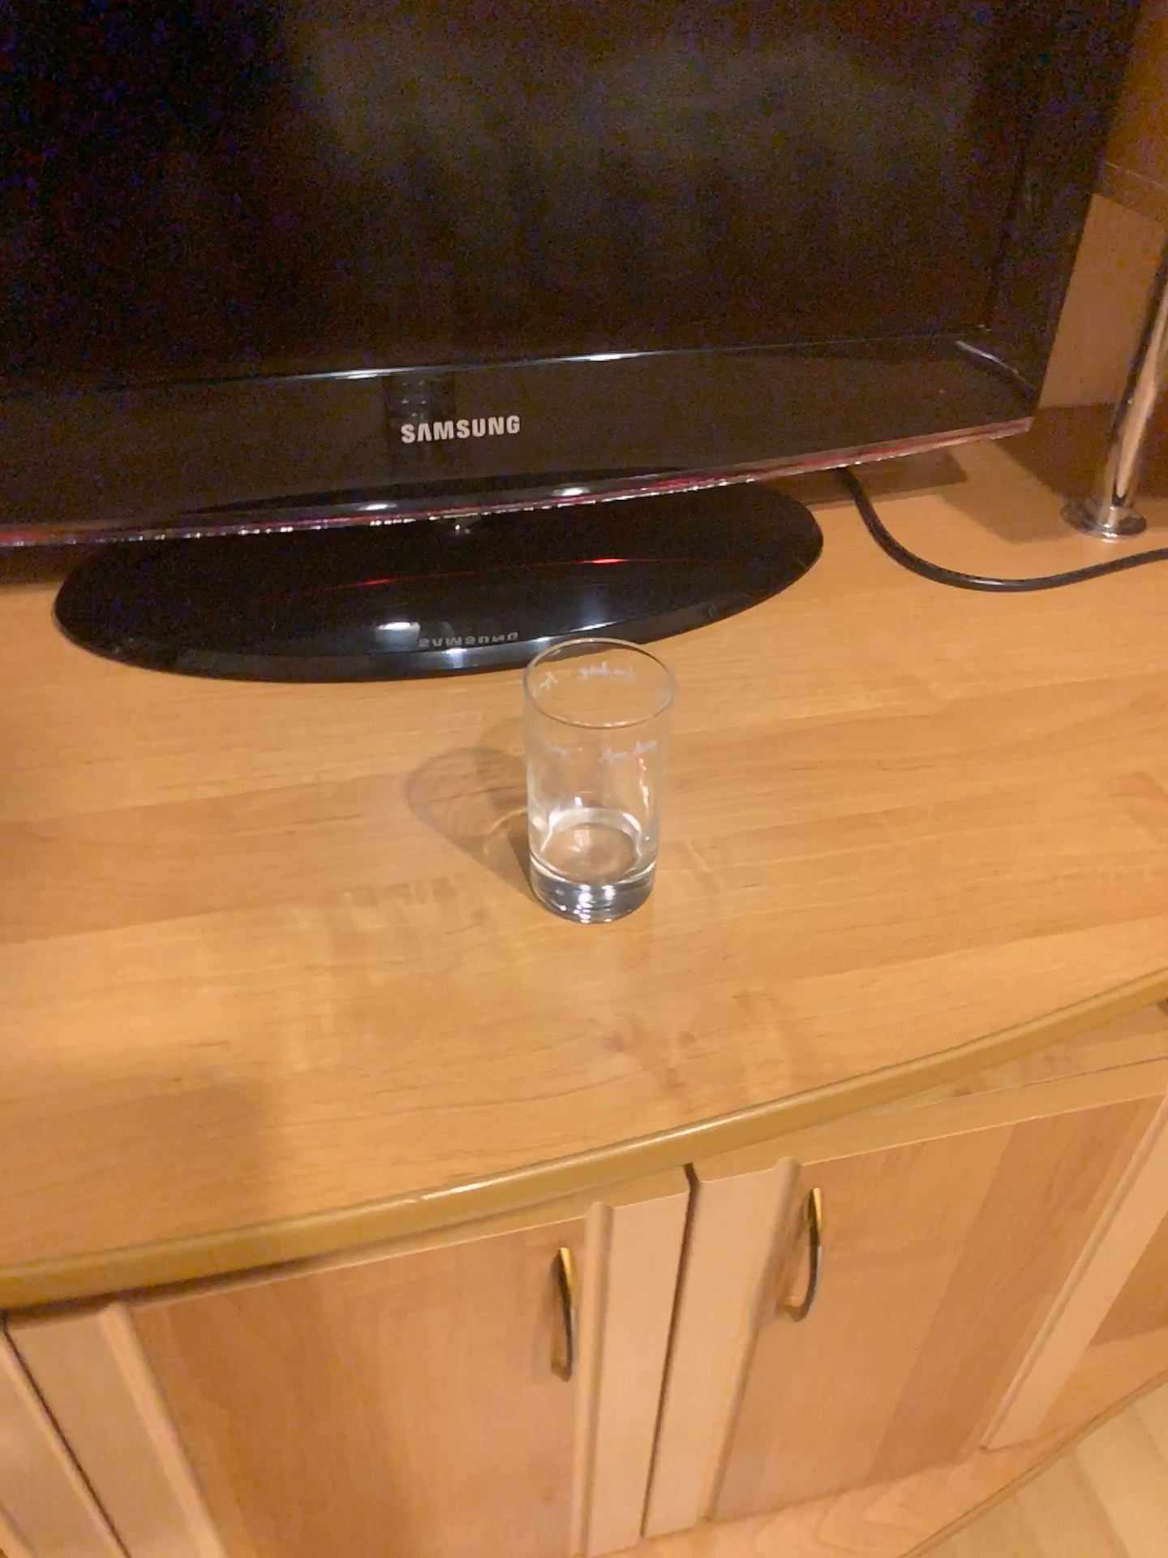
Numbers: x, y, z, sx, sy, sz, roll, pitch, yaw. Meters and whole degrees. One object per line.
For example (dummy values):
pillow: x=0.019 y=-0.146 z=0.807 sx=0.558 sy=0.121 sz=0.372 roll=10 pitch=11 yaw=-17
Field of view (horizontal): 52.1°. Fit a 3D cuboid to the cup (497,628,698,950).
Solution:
cup: x=0.002 y=0.004 z=0.446 sx=0.060 sy=0.098 sz=0.060 roll=1 pitch=38 yaw=0
